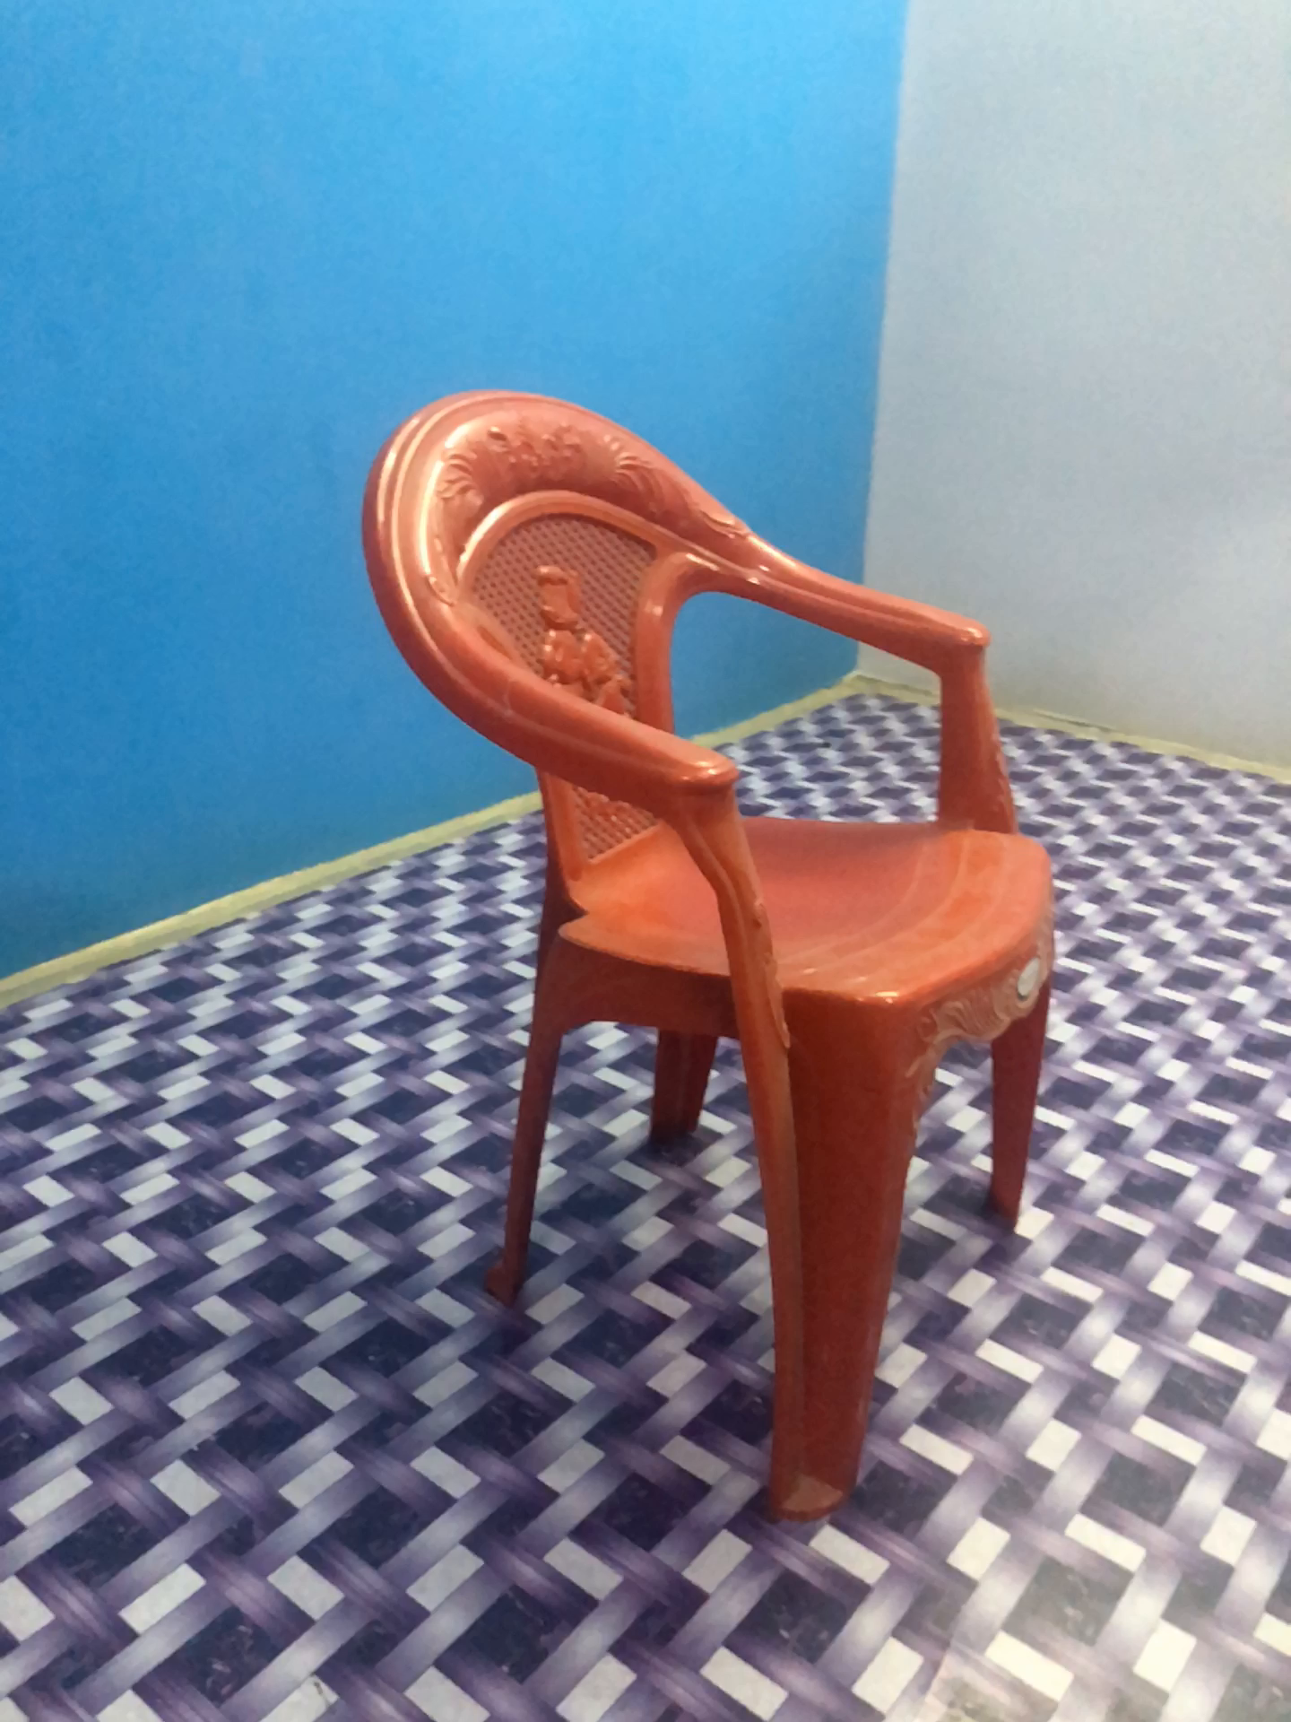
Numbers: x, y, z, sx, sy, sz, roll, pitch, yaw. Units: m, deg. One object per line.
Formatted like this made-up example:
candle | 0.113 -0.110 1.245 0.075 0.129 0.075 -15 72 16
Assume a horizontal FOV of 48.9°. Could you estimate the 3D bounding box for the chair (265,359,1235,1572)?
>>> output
chair | 0.071 -0.004 0.874 0.380 0.557 0.412 14 24 30
